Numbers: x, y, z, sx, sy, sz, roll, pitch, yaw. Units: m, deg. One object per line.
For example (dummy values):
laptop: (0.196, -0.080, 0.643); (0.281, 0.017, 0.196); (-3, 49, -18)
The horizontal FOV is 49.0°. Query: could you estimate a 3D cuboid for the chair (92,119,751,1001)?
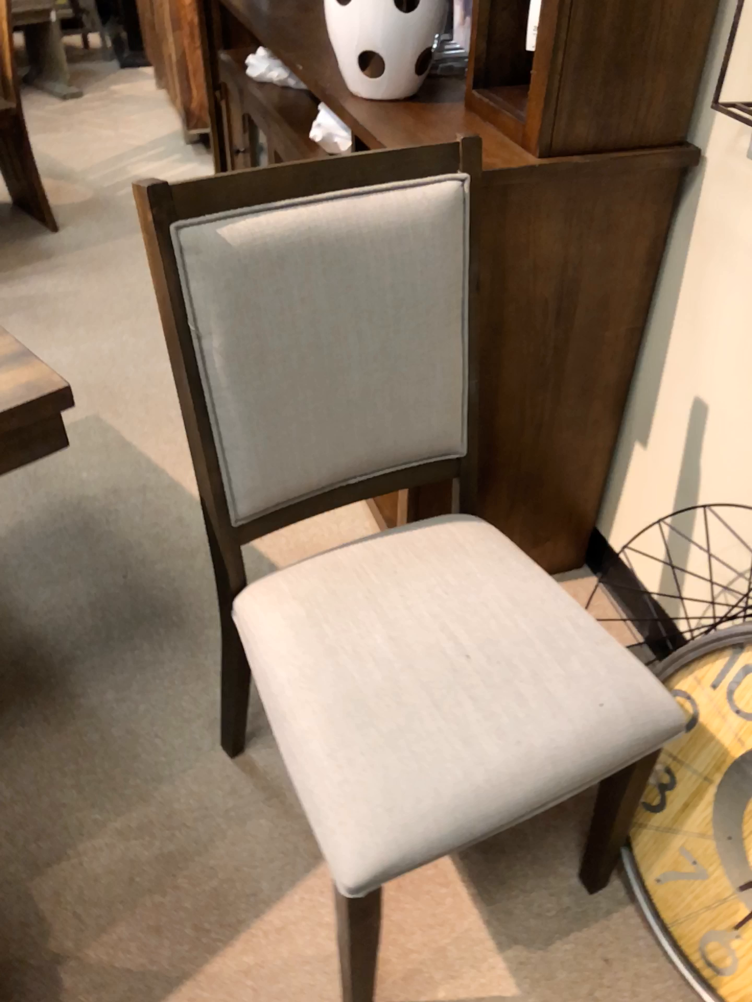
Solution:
chair: (0.044, 0.128, 0.983); (0.460, 0.923, 0.493); (-18, 43, -21)
